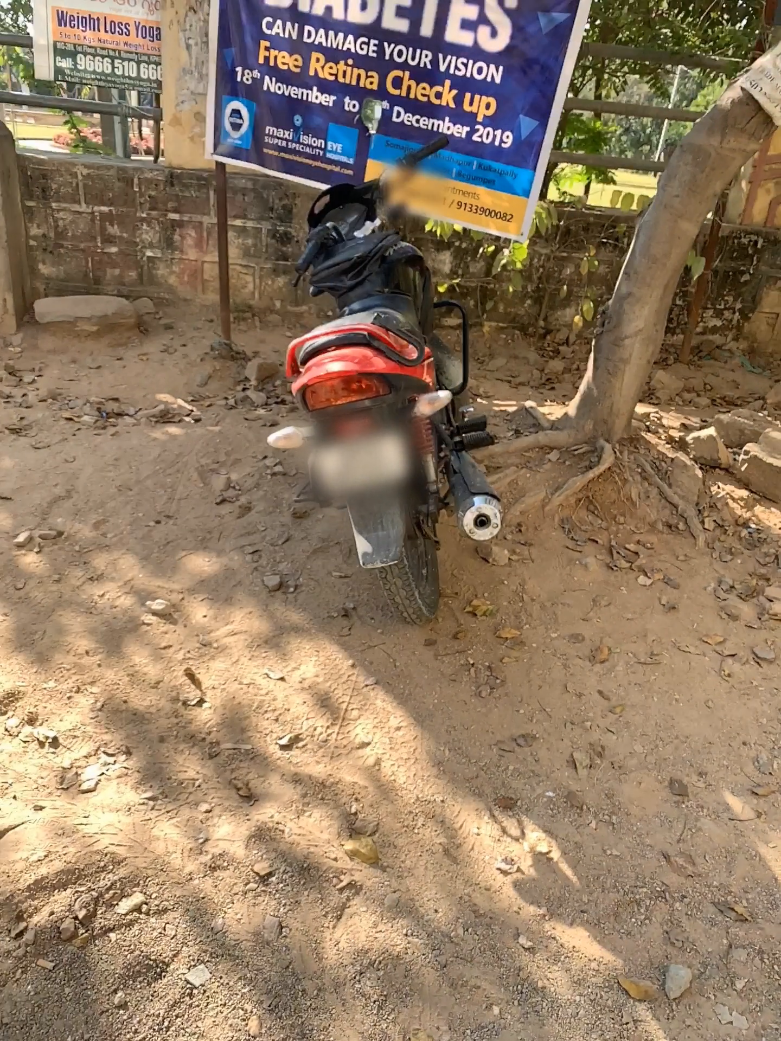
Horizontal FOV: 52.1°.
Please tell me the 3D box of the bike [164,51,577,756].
[{"bbox_3d":[-0.178,-0.510,2.435,0.751,1.442,1.623,2,30,-7],"label":"bike"}]
